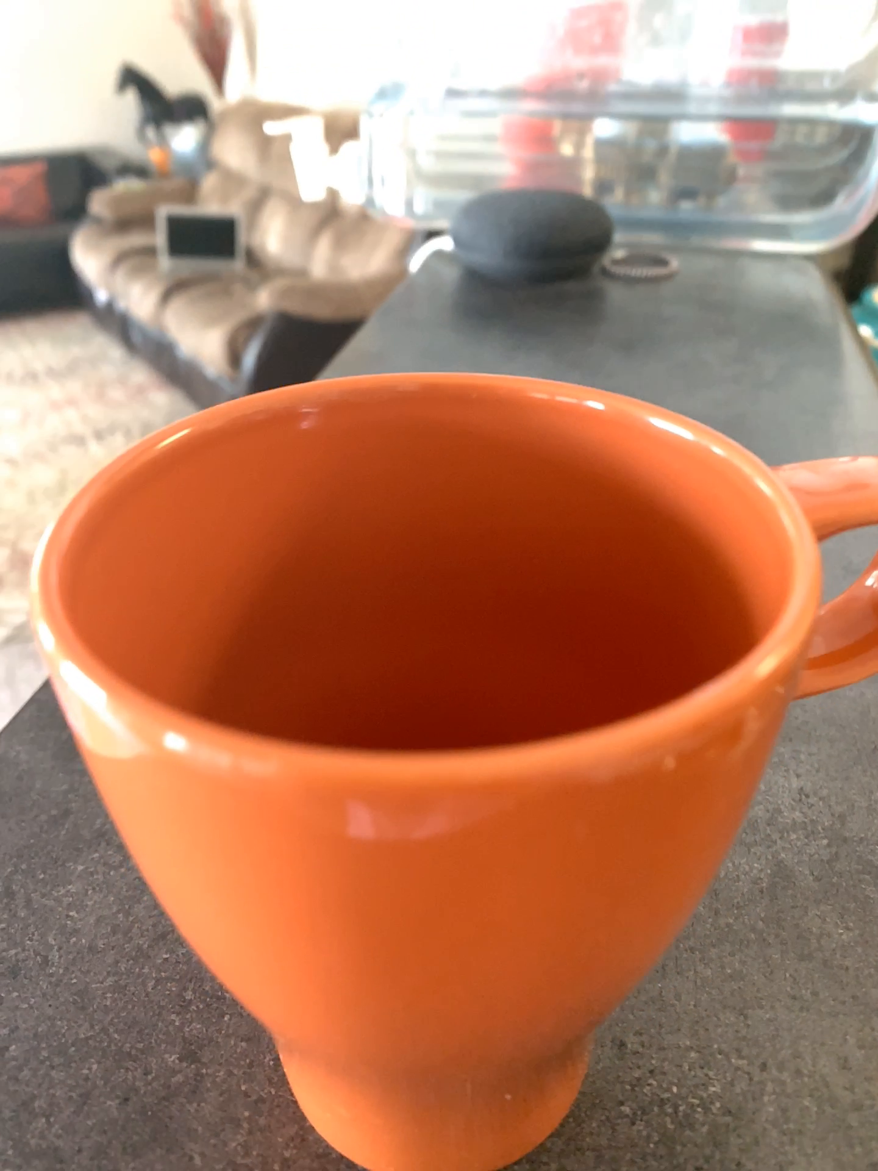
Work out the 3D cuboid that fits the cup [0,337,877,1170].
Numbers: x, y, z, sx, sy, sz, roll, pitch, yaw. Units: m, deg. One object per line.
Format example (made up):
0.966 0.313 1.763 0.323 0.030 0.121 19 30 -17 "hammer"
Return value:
0.019 0.028 0.121 0.120 0.090 0.080 -5 33 -5 "cup"
